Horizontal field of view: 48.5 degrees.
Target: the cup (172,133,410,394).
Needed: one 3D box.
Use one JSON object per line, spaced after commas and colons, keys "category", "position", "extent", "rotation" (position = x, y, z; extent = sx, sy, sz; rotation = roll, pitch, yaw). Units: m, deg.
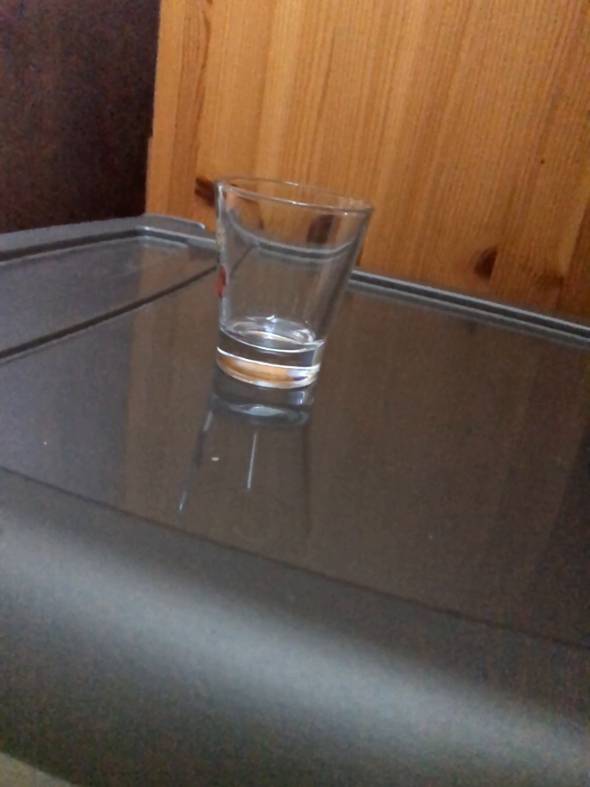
{"category": "cup", "position": [-0.006, -0.050, 0.251], "extent": [0.060, 0.080, 0.060], "rotation": [9, 23, -4]}
